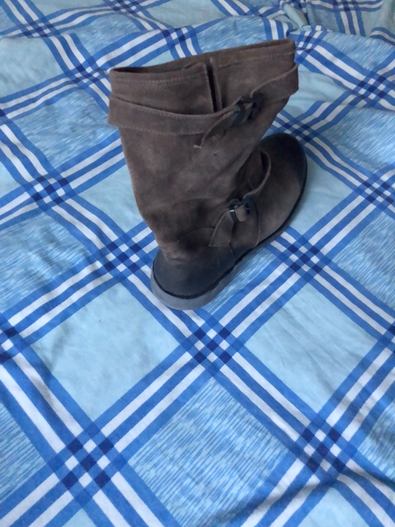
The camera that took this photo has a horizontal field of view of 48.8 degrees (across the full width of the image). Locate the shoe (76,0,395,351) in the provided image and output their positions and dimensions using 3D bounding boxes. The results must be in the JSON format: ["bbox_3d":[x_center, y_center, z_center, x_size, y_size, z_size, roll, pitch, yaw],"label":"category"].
[{"bbox_3d":[0.048,-0.111,0.490,0.130,0.289,0.321,35,61,15],"label":"shoe"}]
